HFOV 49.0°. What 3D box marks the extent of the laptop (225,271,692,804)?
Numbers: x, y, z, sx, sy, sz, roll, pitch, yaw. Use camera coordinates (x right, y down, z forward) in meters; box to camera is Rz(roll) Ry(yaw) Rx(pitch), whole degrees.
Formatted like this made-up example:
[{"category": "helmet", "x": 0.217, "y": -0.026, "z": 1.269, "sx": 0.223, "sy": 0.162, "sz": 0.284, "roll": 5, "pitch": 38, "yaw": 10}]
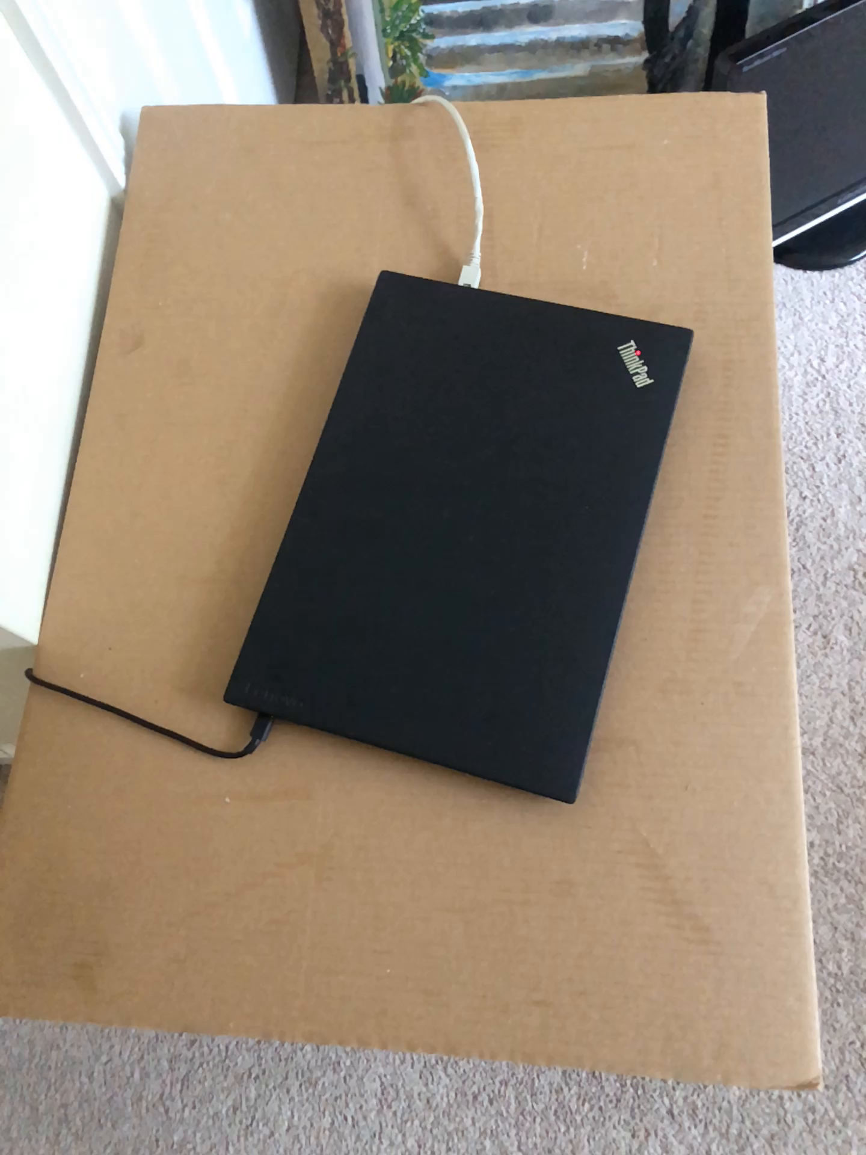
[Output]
[{"category": "laptop", "x": 0.023, "y": -0.046, "z": 0.621, "sx": 0.225, "sy": 0.002, "sz": 0.328, "roll": 14, "pitch": 72, "yaw": 12}]
